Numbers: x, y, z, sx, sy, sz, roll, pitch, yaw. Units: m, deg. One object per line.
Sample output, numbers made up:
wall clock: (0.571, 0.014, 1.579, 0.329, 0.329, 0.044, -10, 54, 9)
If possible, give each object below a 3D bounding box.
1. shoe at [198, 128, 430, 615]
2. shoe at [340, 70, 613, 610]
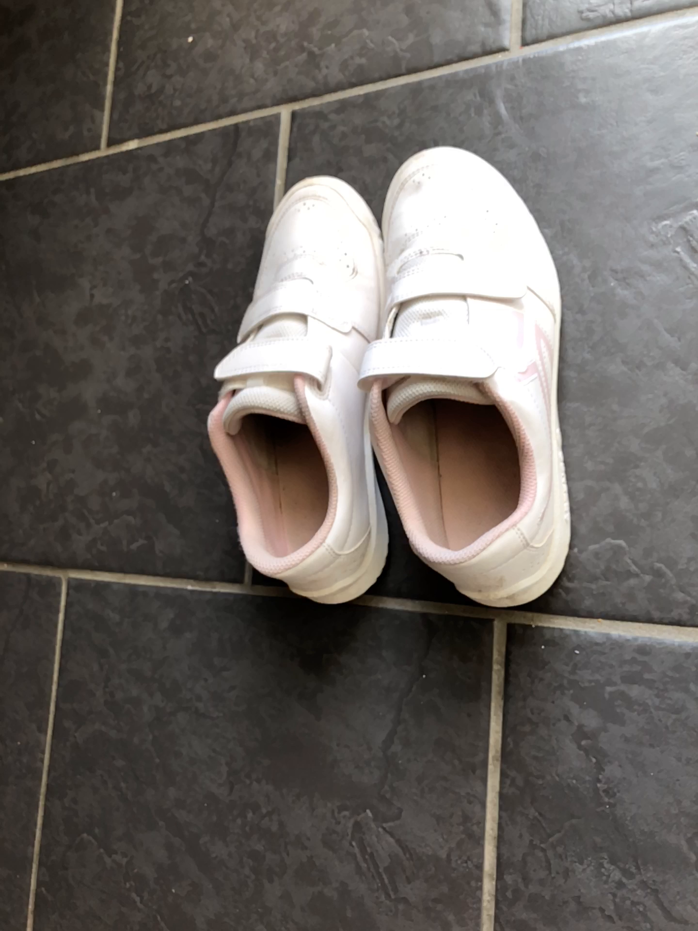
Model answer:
shoe: (-0.019, -0.043, 0.447, 0.095, 0.090, 0.250, -6, 79, 27)
shoe: (0.066, -0.055, 0.411, 0.095, 0.090, 0.250, -10, 78, 26)
